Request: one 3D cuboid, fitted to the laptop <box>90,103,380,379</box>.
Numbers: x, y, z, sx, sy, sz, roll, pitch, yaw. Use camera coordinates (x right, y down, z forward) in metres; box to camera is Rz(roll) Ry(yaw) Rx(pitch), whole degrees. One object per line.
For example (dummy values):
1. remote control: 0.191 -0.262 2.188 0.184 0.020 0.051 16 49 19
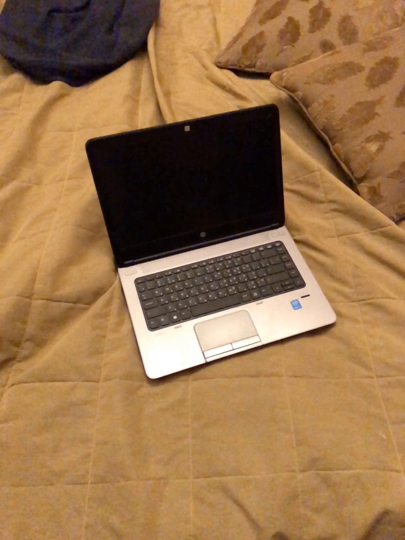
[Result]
1. laptop: 0.026 -0.060 0.738 0.332 0.189 0.339 -15 59 -11
